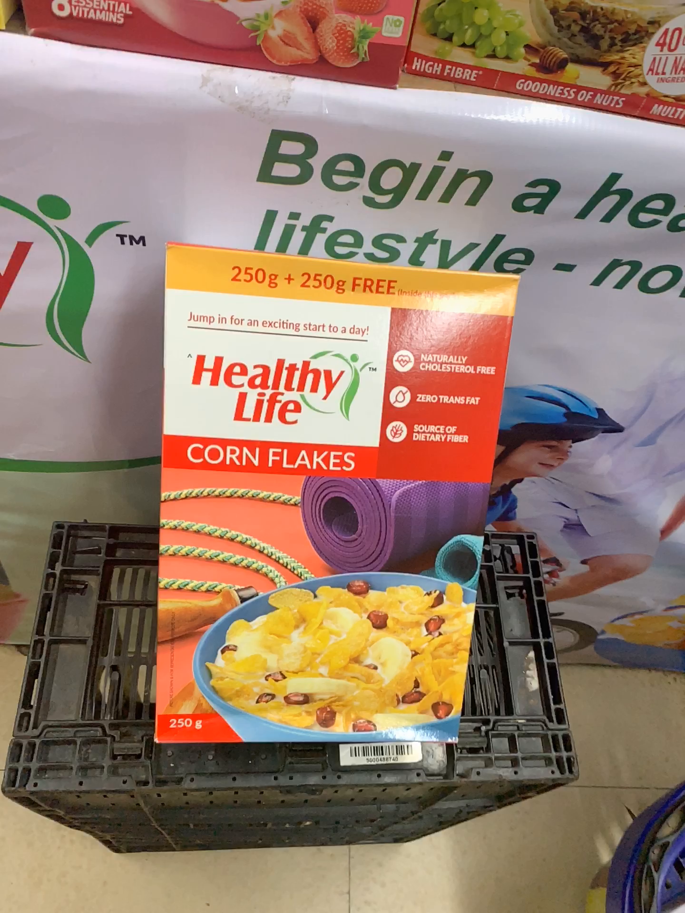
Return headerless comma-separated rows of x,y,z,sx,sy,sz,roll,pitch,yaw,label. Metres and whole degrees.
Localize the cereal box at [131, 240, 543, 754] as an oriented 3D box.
-0.014,0.027,0.422,0.200,0.280,0.090,3,14,-7,cereal box
